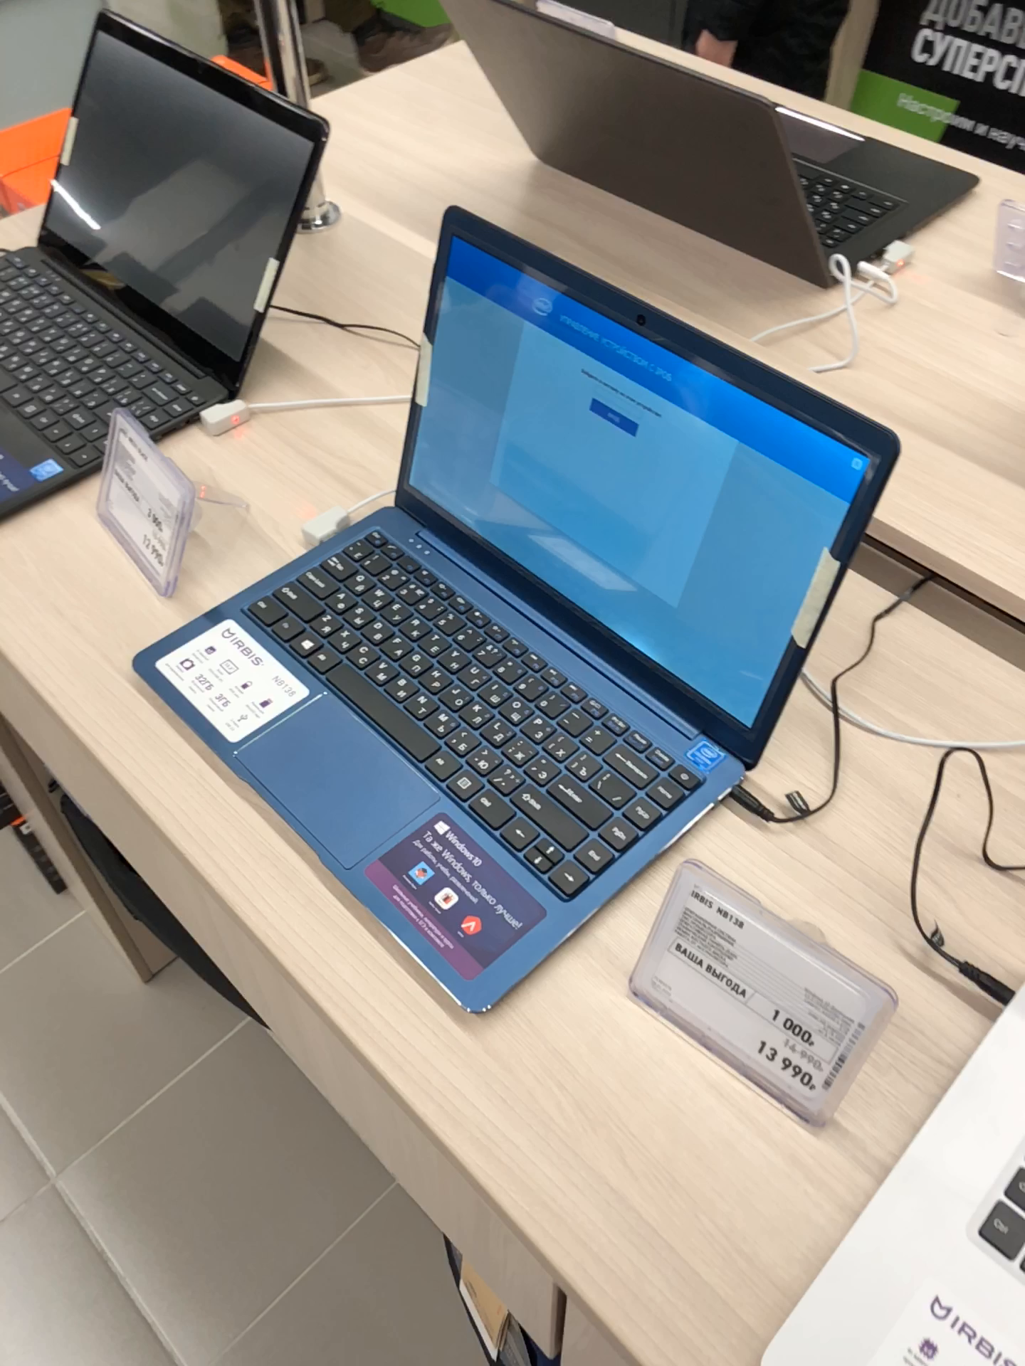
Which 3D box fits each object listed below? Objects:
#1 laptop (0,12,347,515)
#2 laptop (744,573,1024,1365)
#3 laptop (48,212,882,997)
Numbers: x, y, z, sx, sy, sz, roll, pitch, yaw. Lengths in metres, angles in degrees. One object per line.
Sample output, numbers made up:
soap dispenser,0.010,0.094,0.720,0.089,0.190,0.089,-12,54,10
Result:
laptop,-0.359,-0.342,0.867,0.328,0.155,0.301,-38,60,-26
laptop,0.303,0.189,0.351,0.311,0.218,0.289,36,59,29
laptop,-0.026,-0.065,0.614,0.271,0.186,0.310,-36,58,-26
